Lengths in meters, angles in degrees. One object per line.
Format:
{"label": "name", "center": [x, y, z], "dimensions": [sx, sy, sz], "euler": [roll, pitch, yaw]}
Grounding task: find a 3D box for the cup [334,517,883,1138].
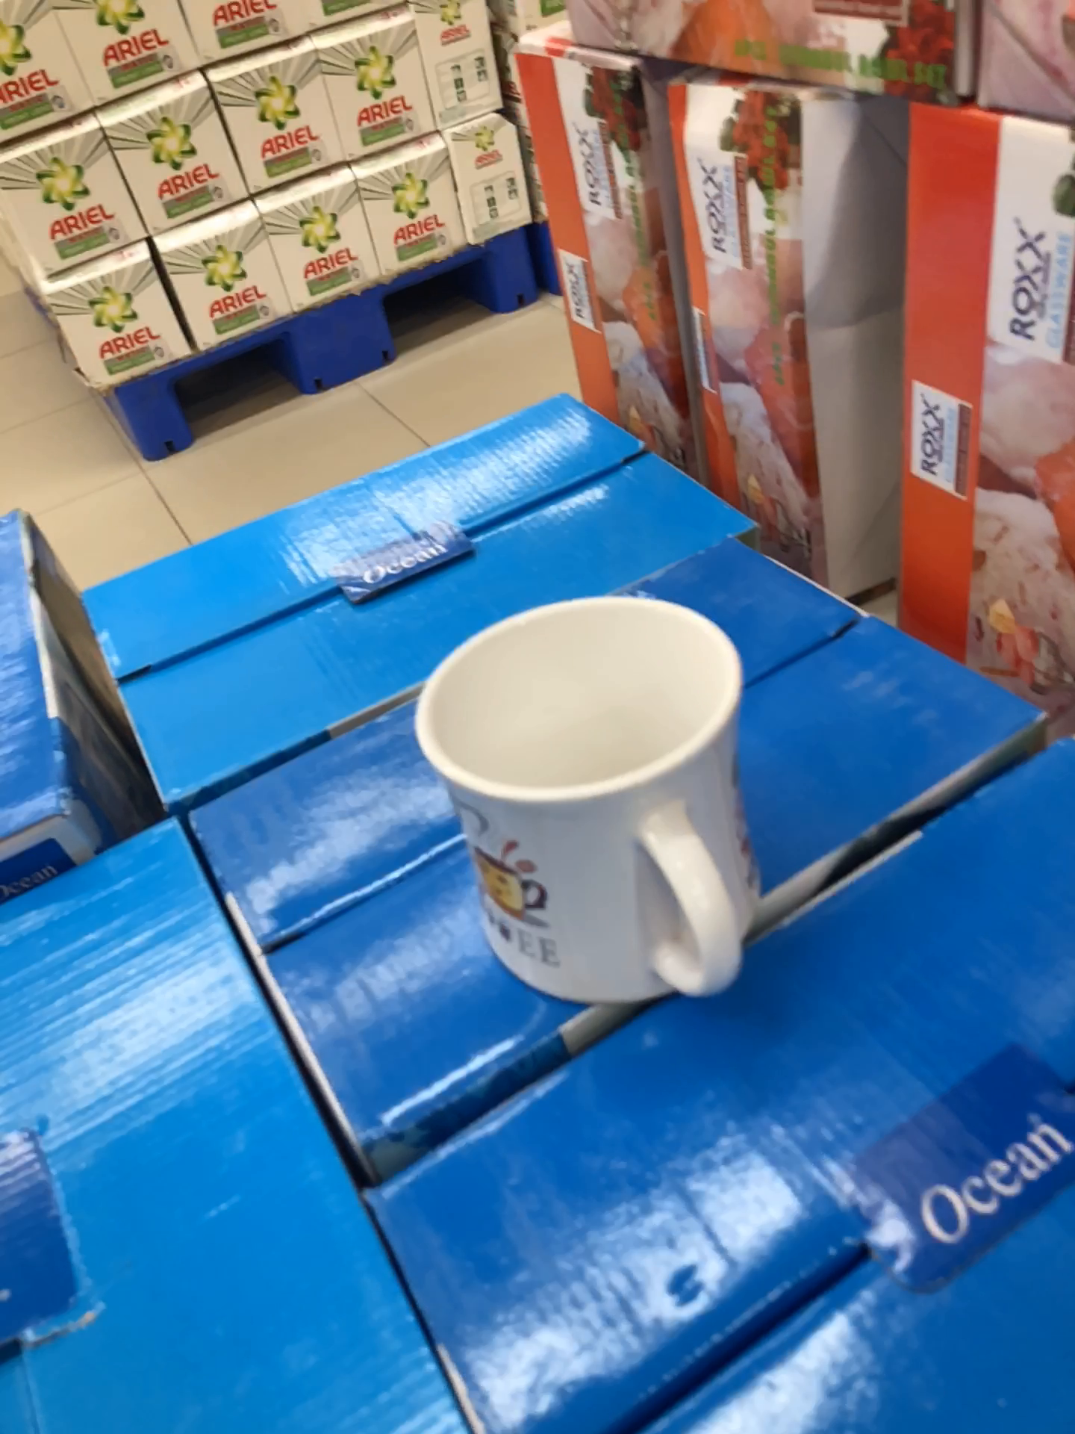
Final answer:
{"label": "cup", "center": [0.015, 0.019, 0.263], "dimensions": [0.070, 0.070, 0.100], "euler": [-28, 42, -15]}
